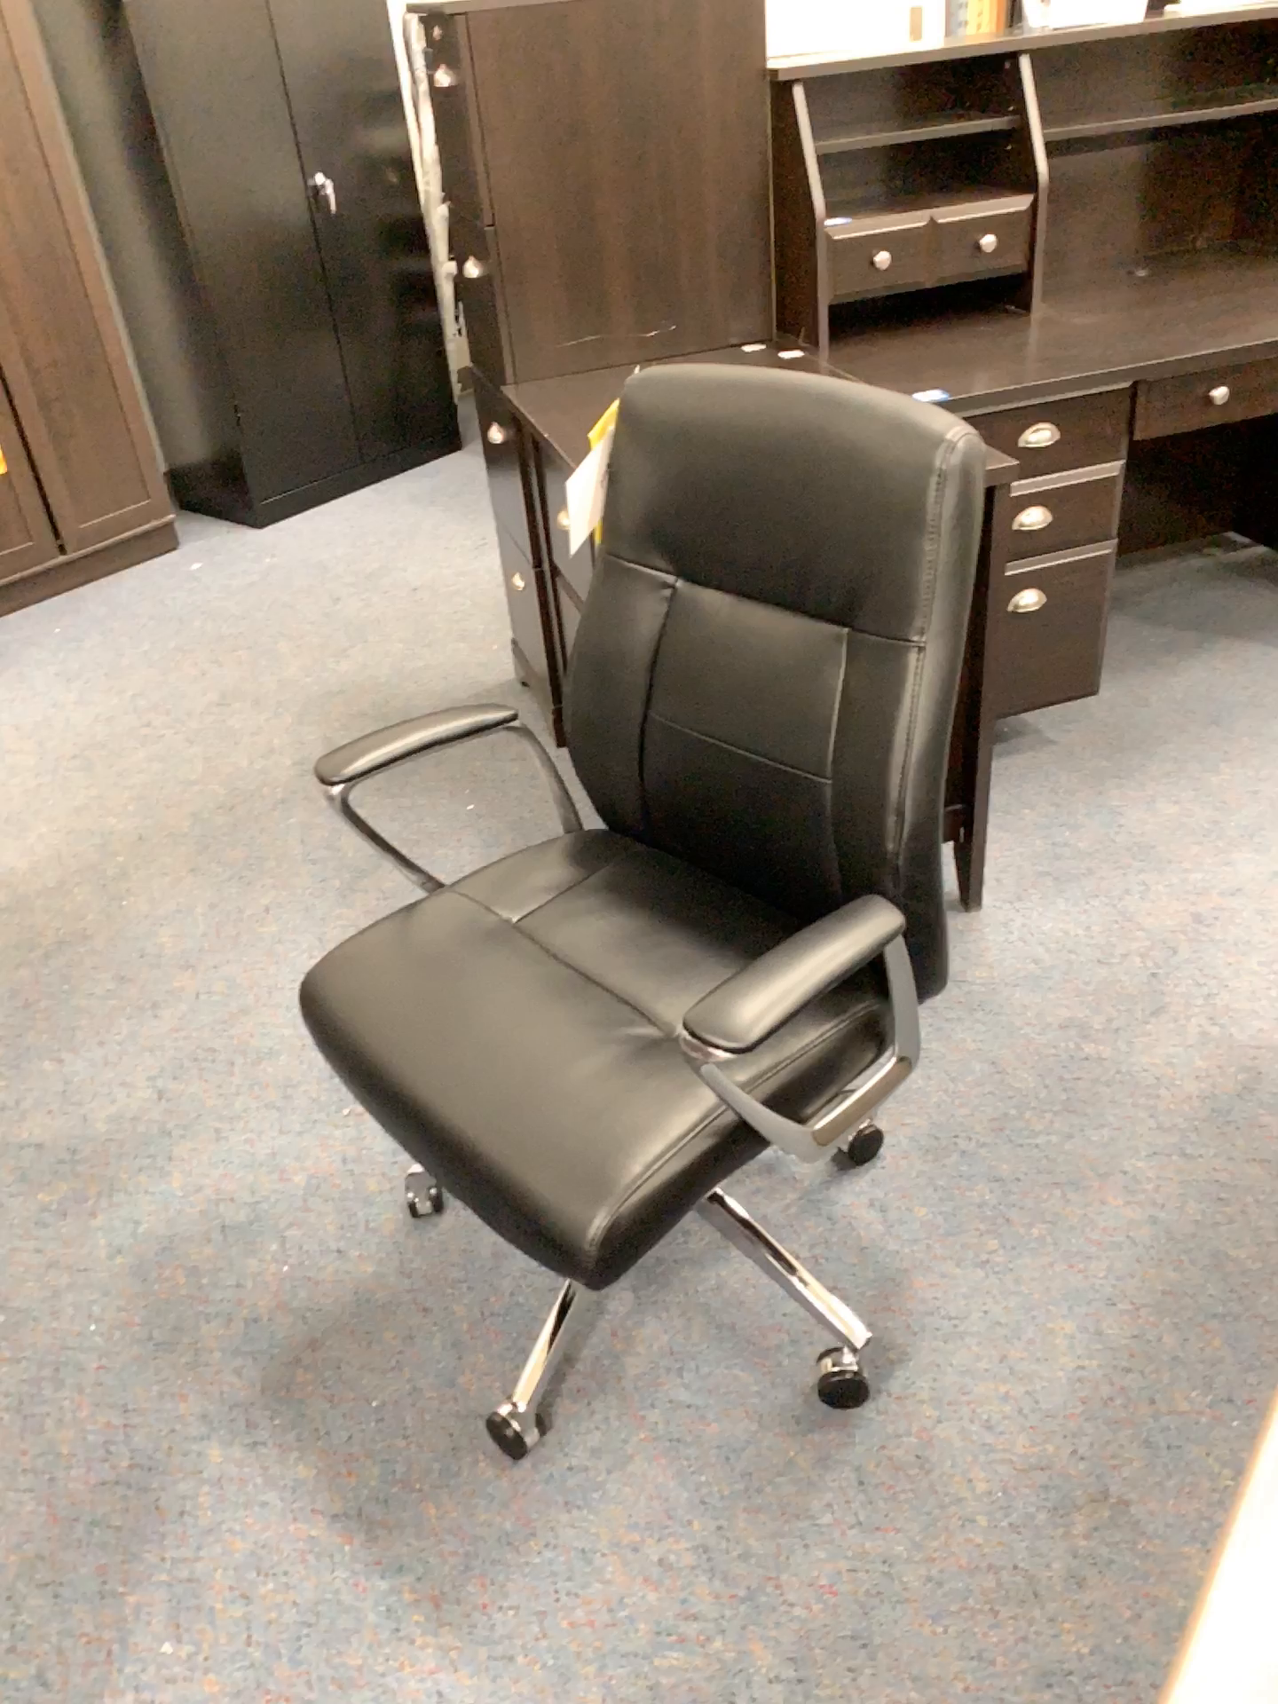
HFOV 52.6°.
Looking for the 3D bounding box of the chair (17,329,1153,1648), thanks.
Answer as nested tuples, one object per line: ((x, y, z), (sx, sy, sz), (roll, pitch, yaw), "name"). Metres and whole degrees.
((-0.010, 0.076, 1.376), (0.718, 0.995, 0.666), (-31, 40, -32), "chair")
